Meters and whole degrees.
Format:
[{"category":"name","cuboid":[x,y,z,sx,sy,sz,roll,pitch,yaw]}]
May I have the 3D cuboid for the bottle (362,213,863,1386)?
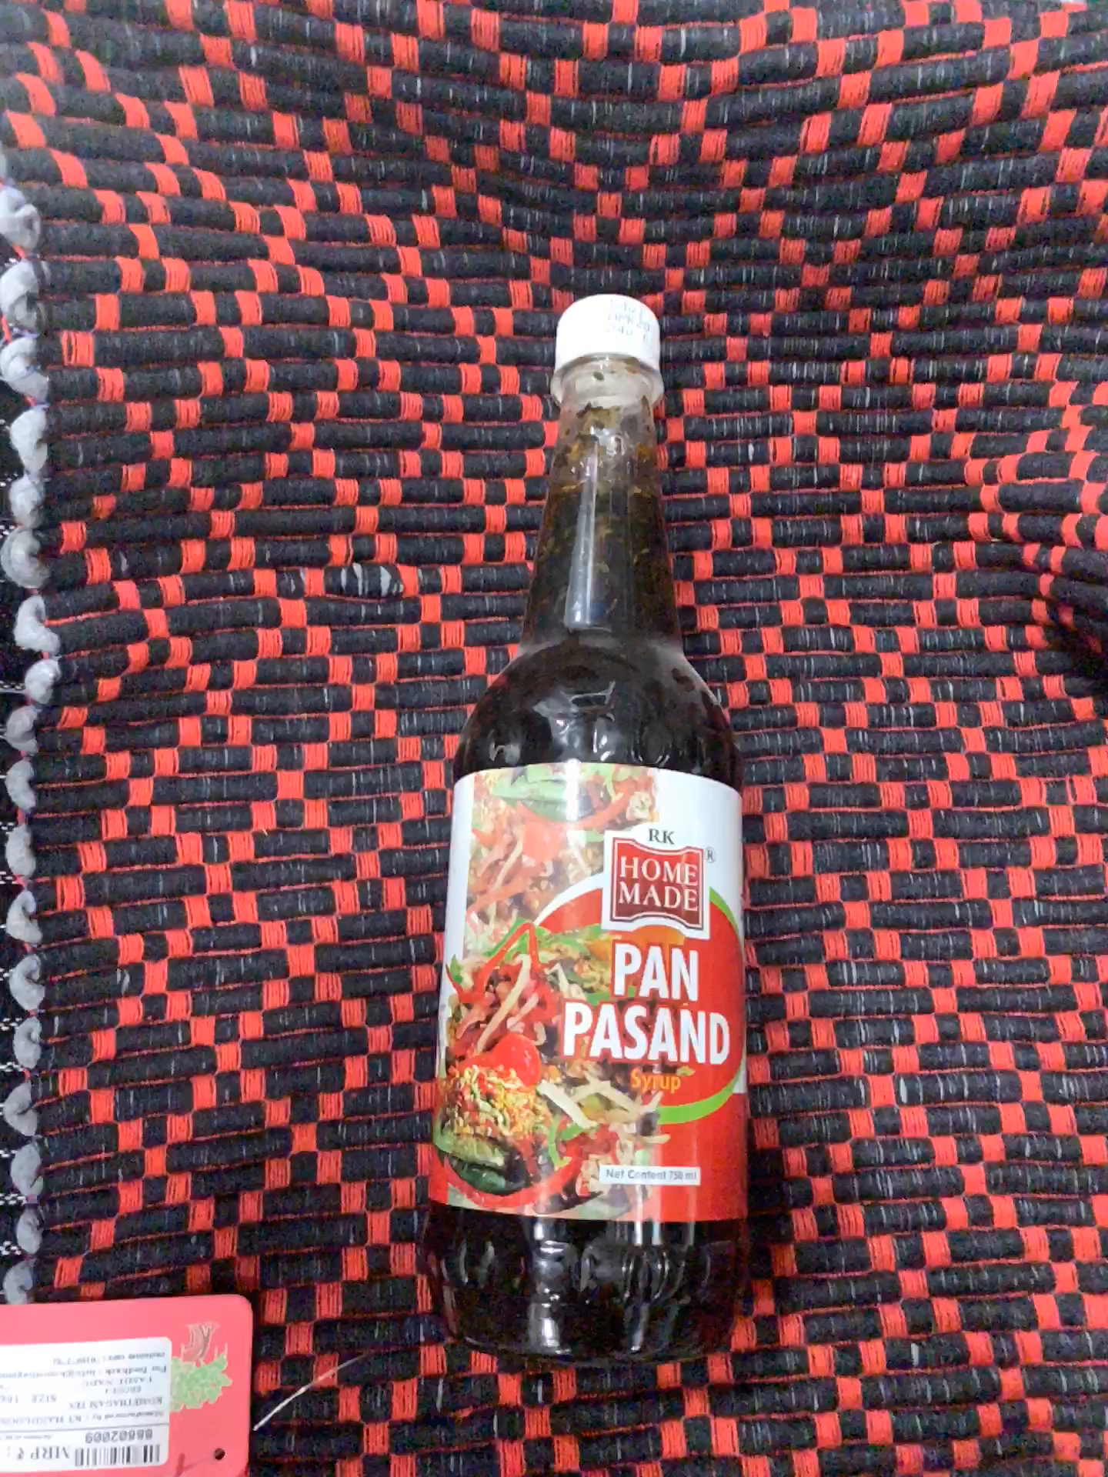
[{"category":"bottle","cuboid":[0.015,0.001,0.297,0.090,0.080,0.280,3,67,-1]}]
